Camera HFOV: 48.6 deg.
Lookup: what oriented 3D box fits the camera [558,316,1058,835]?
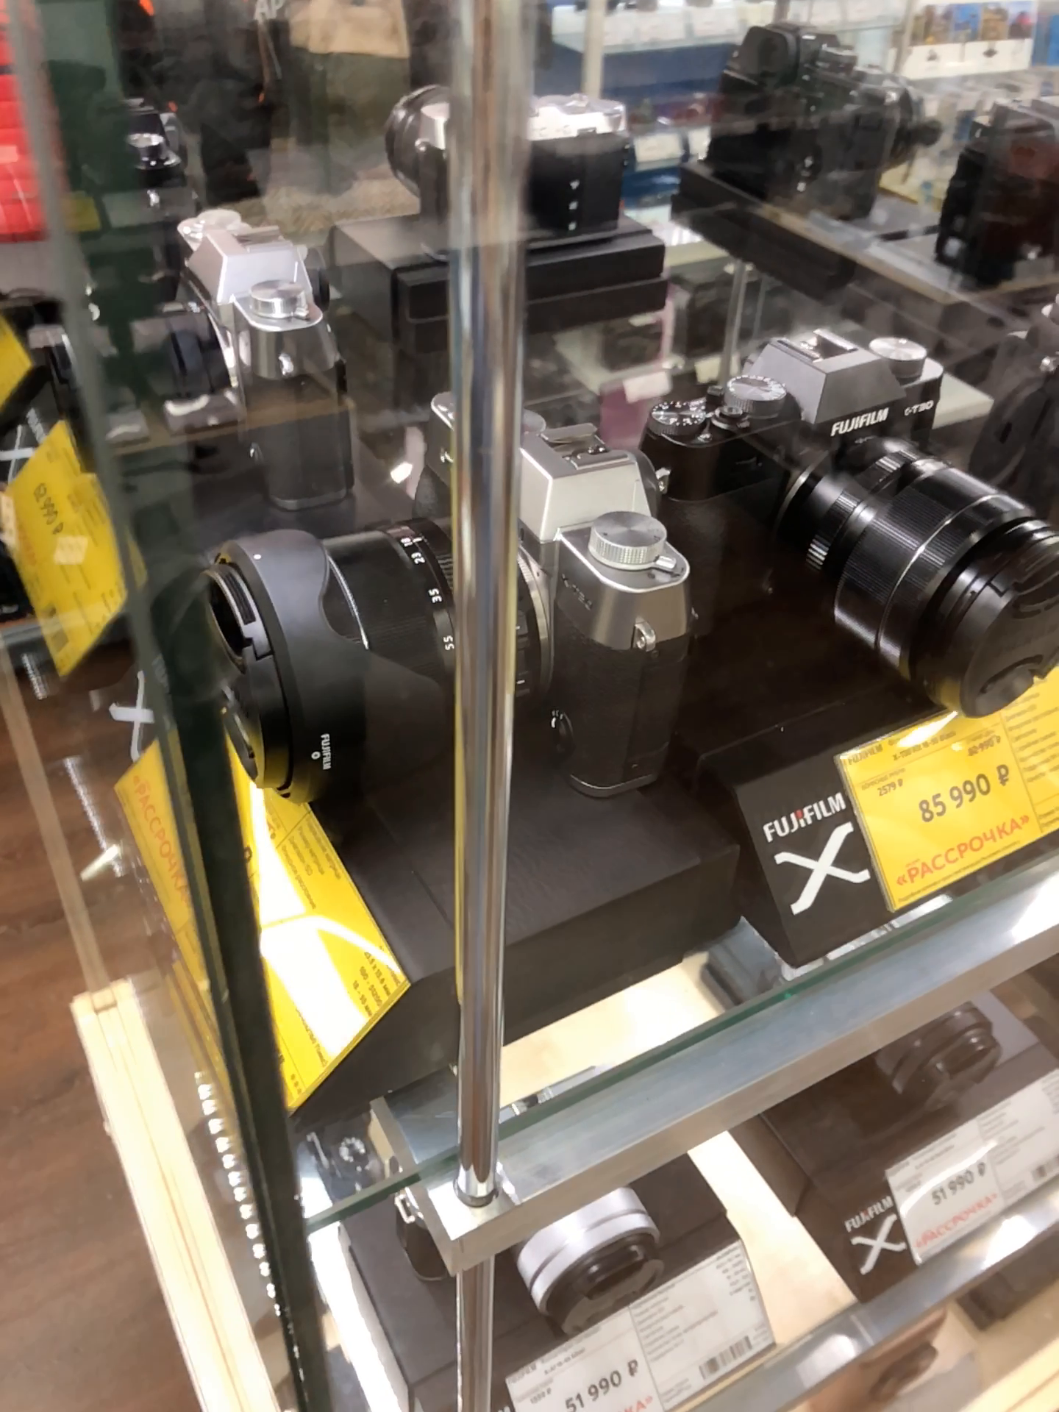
[{"bbox_3d":[0.106,-0.052,0.385,0.144,0.088,0.123,-19,45,-25],"label":"camera"}]

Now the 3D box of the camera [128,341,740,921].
[{"bbox_3d":[-0.031,-0.030,0.337,0.121,0.088,0.121,-18,44,-24],"label":"camera"}]

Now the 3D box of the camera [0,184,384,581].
[{"bbox_3d":[-0.133,-0.132,0.455,0.104,0.088,0.135,-17,44,-24],"label":"camera"}]
